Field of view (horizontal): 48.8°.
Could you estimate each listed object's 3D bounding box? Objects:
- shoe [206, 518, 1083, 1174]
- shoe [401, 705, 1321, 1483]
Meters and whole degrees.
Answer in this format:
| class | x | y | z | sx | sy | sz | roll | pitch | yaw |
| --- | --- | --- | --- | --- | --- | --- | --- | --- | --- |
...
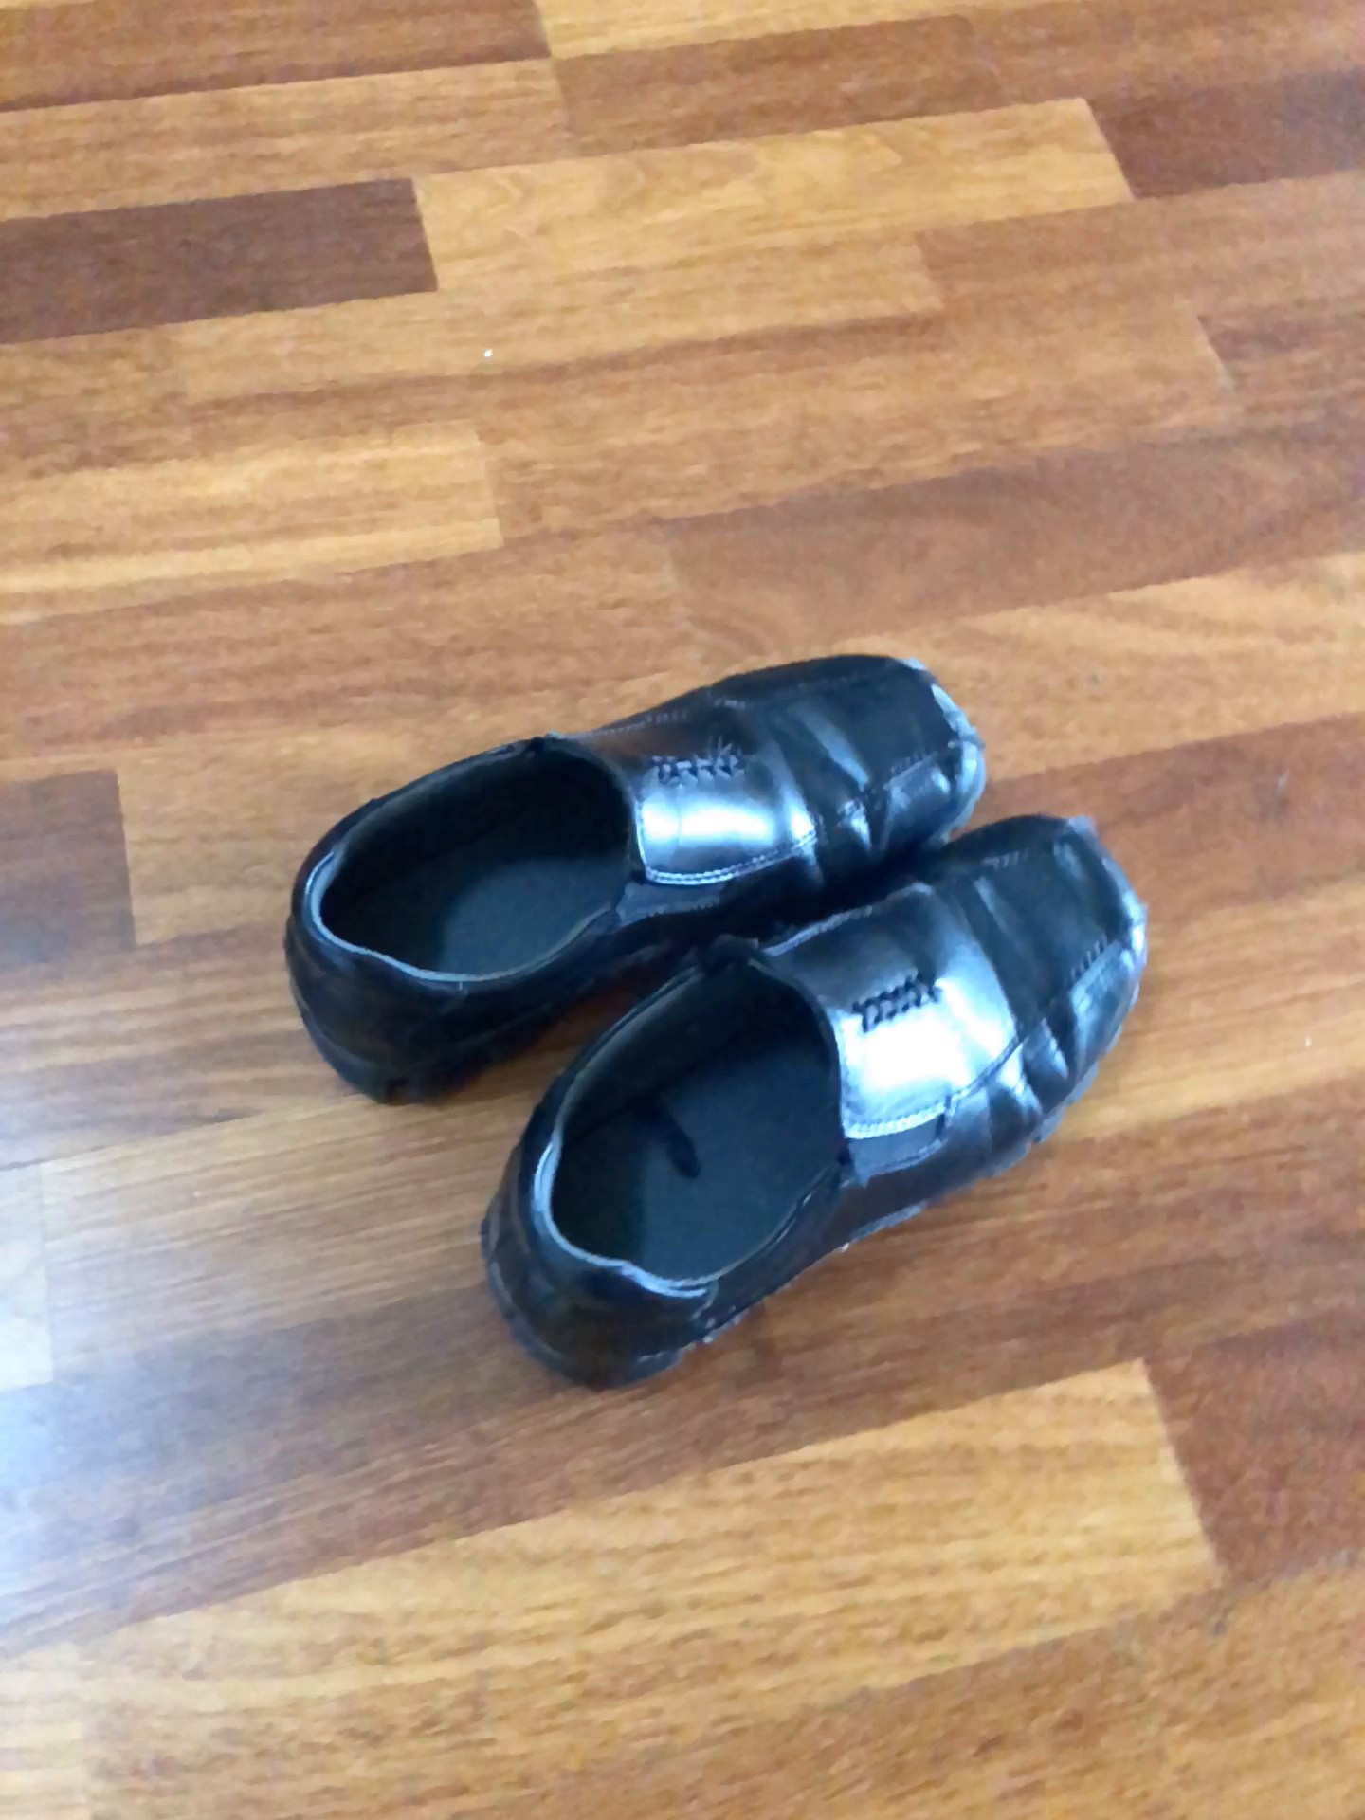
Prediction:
| class | x | y | z | sx | sy | sz | roll | pitch | yaw |
| --- | --- | --- | --- | --- | --- | --- | --- | --- | --- |
| shoe | -0.009 | -0.022 | 0.458 | 0.233 | 0.075 | 0.091 | -25 | 69 | -15 |
| shoe | 0.050 | 0.048 | 0.426 | 0.233 | 0.075 | 0.094 | -30 | 70 | -17 |
